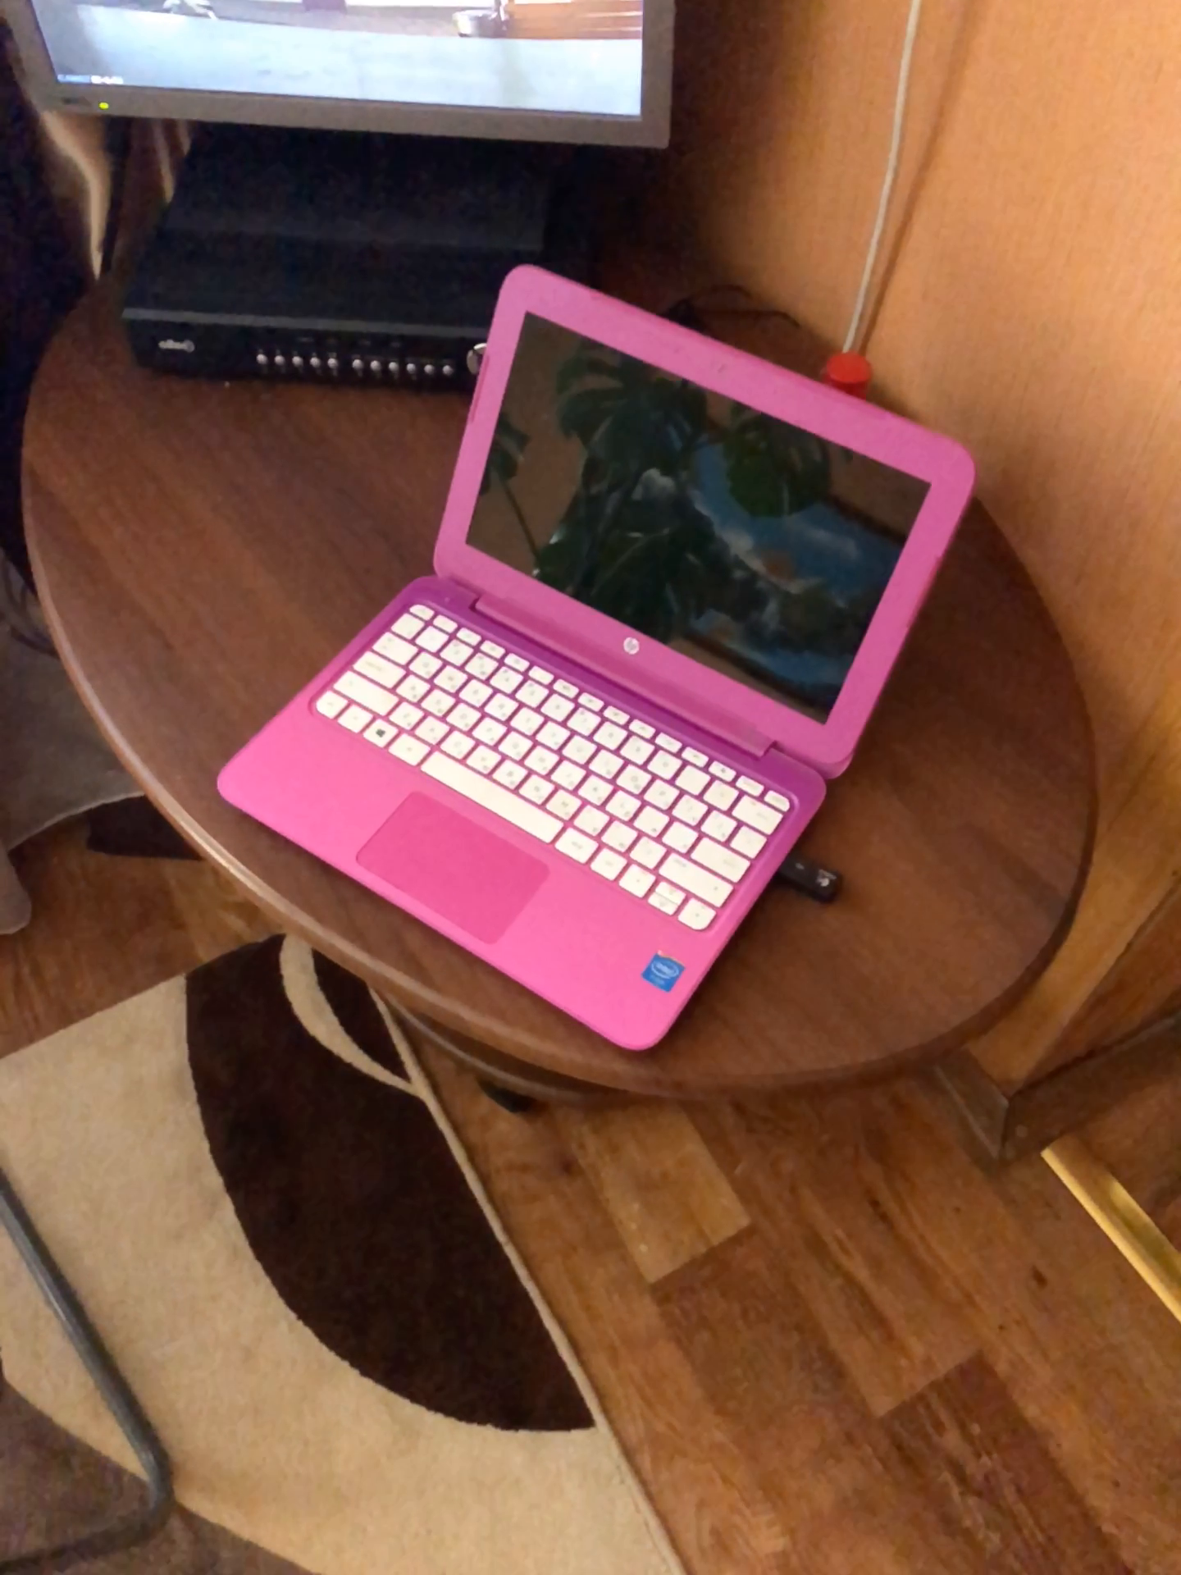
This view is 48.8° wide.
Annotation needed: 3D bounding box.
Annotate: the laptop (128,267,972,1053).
[{"bbox_3d":[-0.010,-0.082,0.673,0.279,0.150,0.296,29,61,19],"label":"laptop"}]
